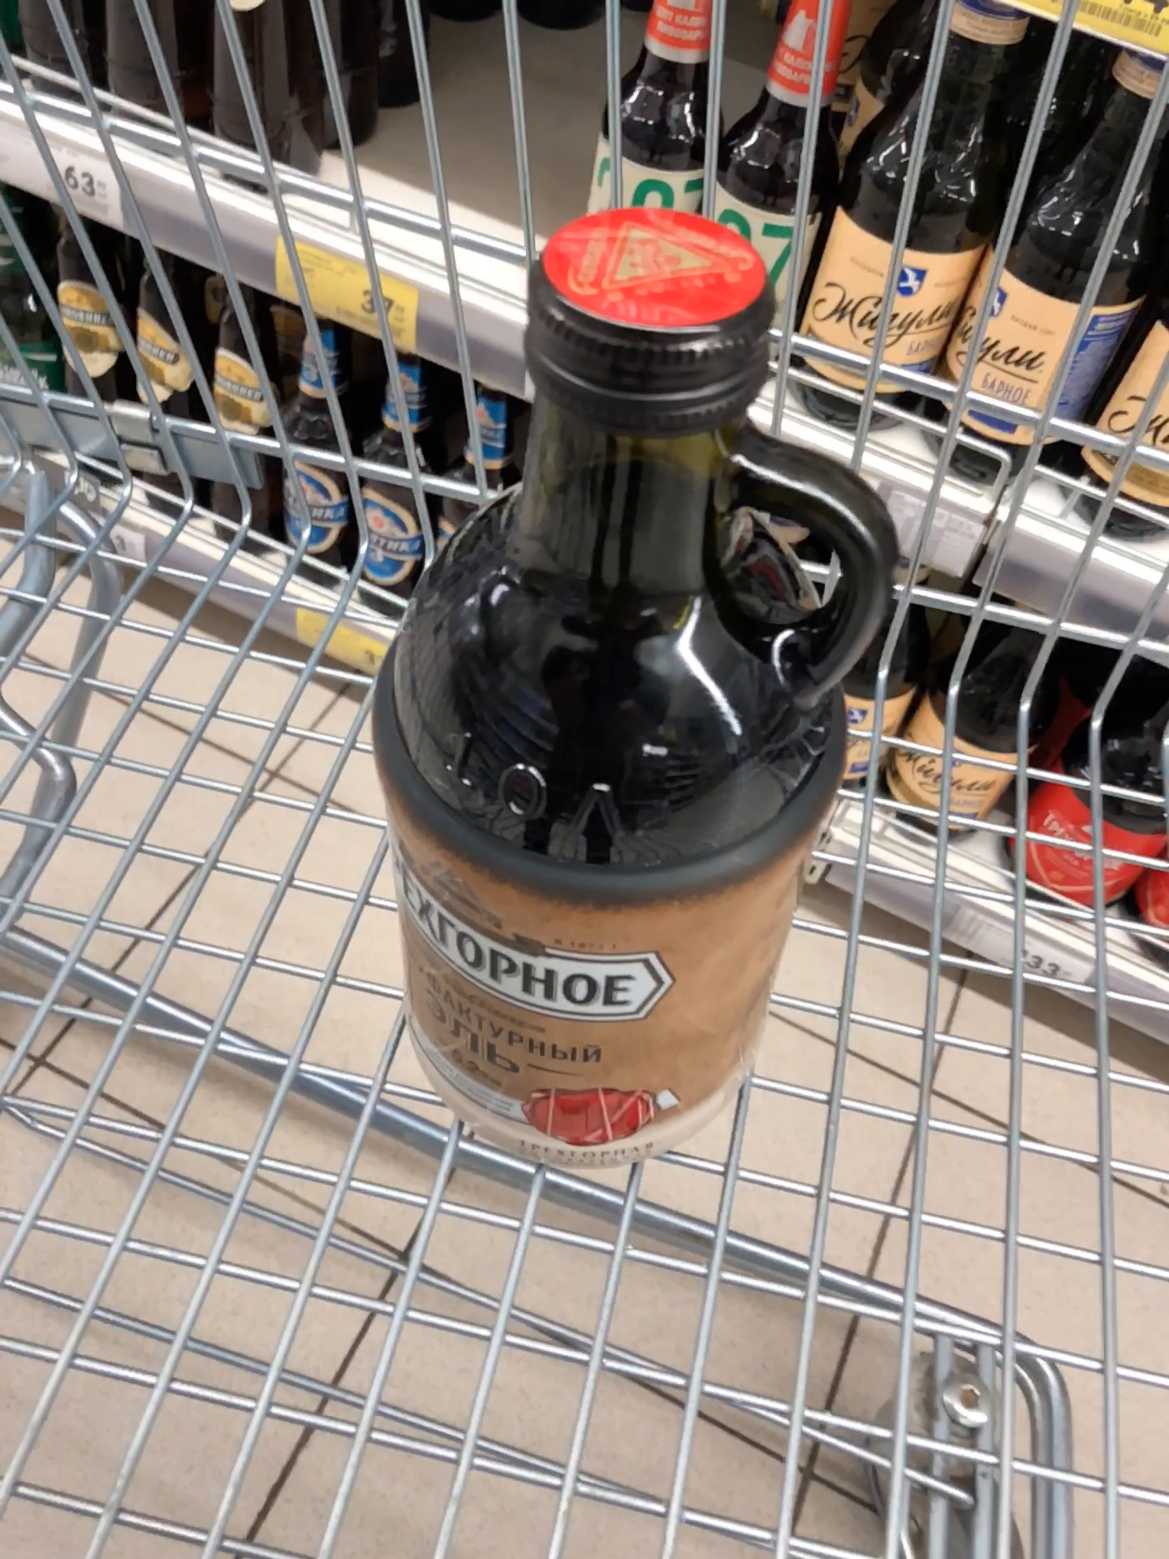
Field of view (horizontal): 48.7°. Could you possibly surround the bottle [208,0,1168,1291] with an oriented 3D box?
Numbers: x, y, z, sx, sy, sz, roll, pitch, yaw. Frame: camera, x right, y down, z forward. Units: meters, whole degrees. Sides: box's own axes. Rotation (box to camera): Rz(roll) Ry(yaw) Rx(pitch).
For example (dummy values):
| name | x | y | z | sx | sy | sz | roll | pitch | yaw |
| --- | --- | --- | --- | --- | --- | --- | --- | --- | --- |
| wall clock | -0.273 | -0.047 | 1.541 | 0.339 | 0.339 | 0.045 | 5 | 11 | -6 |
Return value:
| name | x | y | z | sx | sy | sz | roll | pitch | yaw |
| --- | --- | --- | --- | --- | --- | --- | --- | --- | --- |
| bottle | 0.011 | -0.006 | 0.267 | 0.110 | 0.229 | 0.100 | 4 | 51 | -5 |
